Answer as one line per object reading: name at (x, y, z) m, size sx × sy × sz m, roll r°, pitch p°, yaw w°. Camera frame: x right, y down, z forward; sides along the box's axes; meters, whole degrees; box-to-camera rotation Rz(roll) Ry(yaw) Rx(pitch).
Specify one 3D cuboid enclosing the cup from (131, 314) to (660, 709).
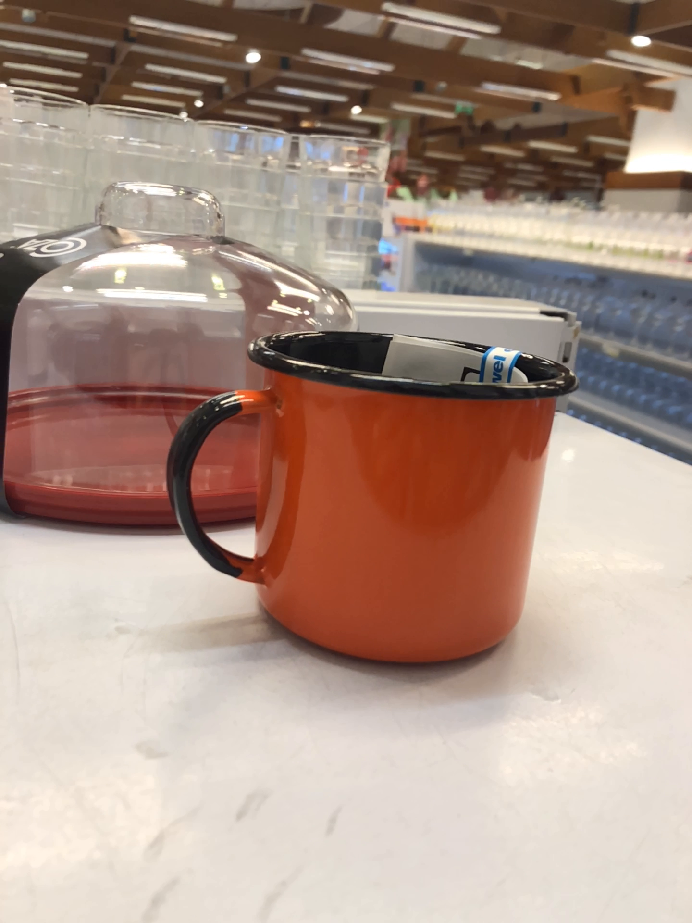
cup at (0.004, 0.004, 0.202) m, size 0.110 × 0.070 × 0.080 m, roll -1°, pitch 17°, yaw -20°
